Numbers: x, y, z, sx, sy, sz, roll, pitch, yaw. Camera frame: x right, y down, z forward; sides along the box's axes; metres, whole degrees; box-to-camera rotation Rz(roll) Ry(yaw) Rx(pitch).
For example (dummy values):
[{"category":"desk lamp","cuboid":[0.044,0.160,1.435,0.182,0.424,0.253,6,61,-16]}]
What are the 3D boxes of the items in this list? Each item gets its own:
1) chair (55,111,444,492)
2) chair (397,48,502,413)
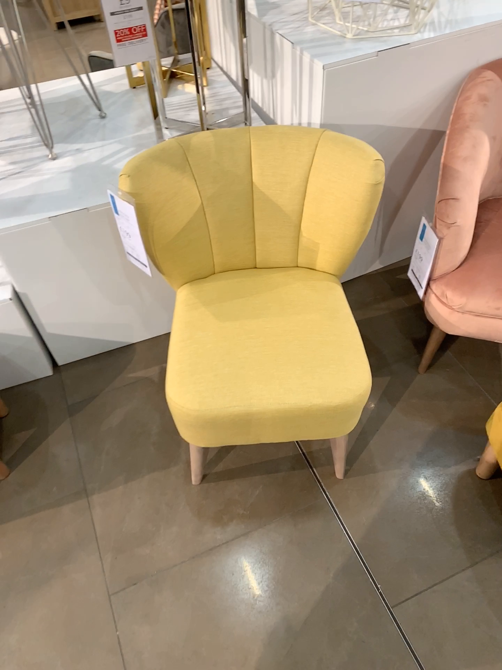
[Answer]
[{"category":"chair","cuboid":[0.014,-0.053,1.249,0.607,0.696,0.591,-2,49,3]},{"category":"chair","cuboid":[0.798,-0.282,1.443,0.617,0.766,0.591,7,50,11]}]
